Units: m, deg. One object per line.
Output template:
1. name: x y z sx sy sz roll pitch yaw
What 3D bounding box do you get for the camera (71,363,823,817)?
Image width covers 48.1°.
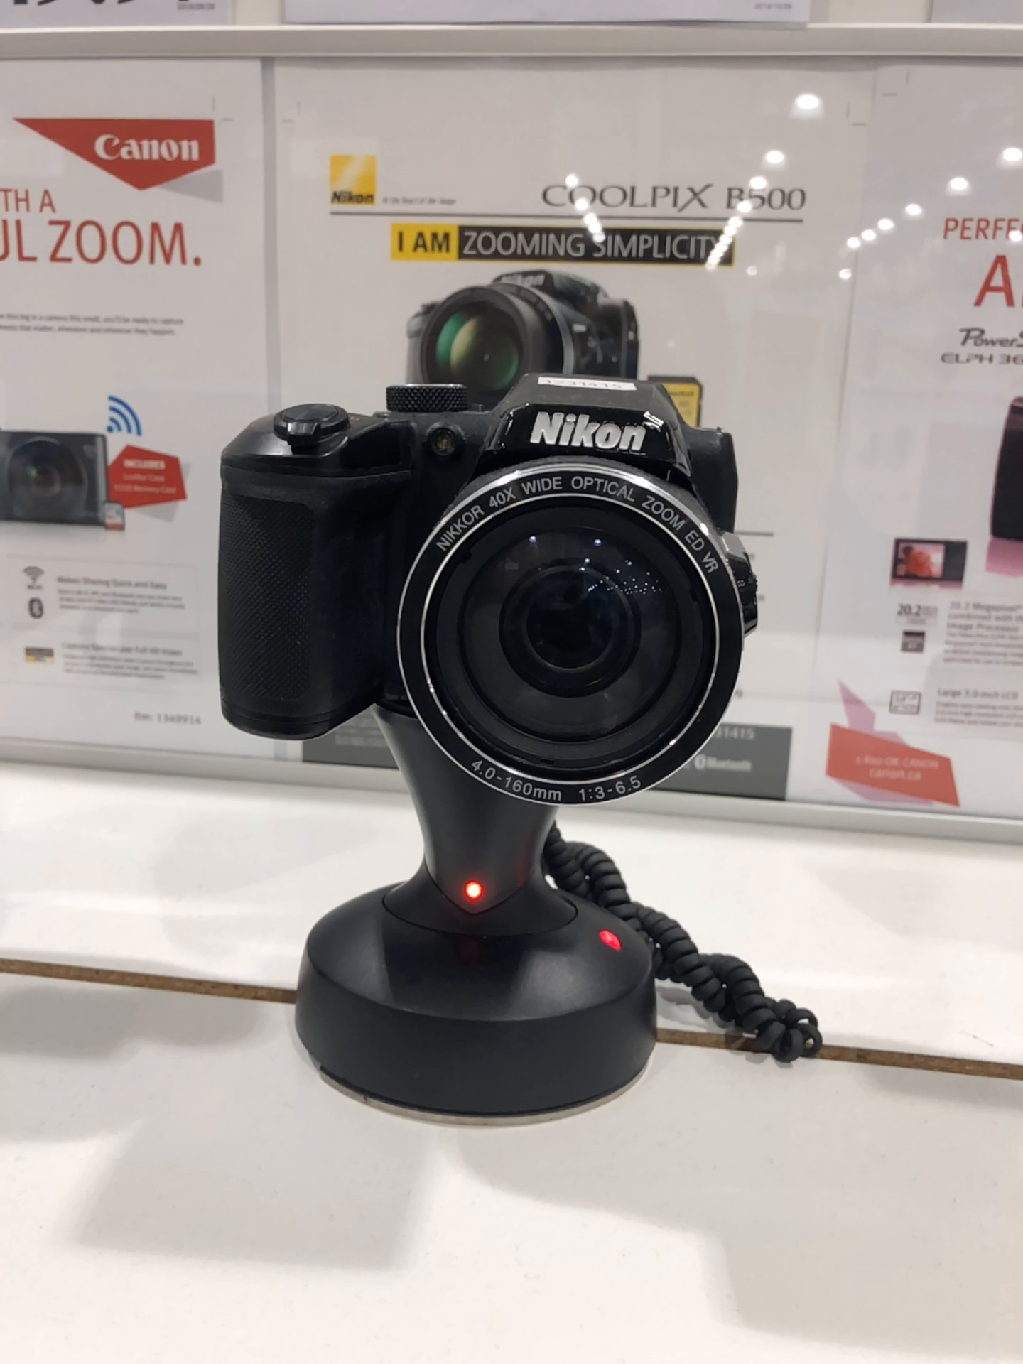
1. camera: -0.008 -0.028 0.237 0.120 0.070 0.100 3 15 6
